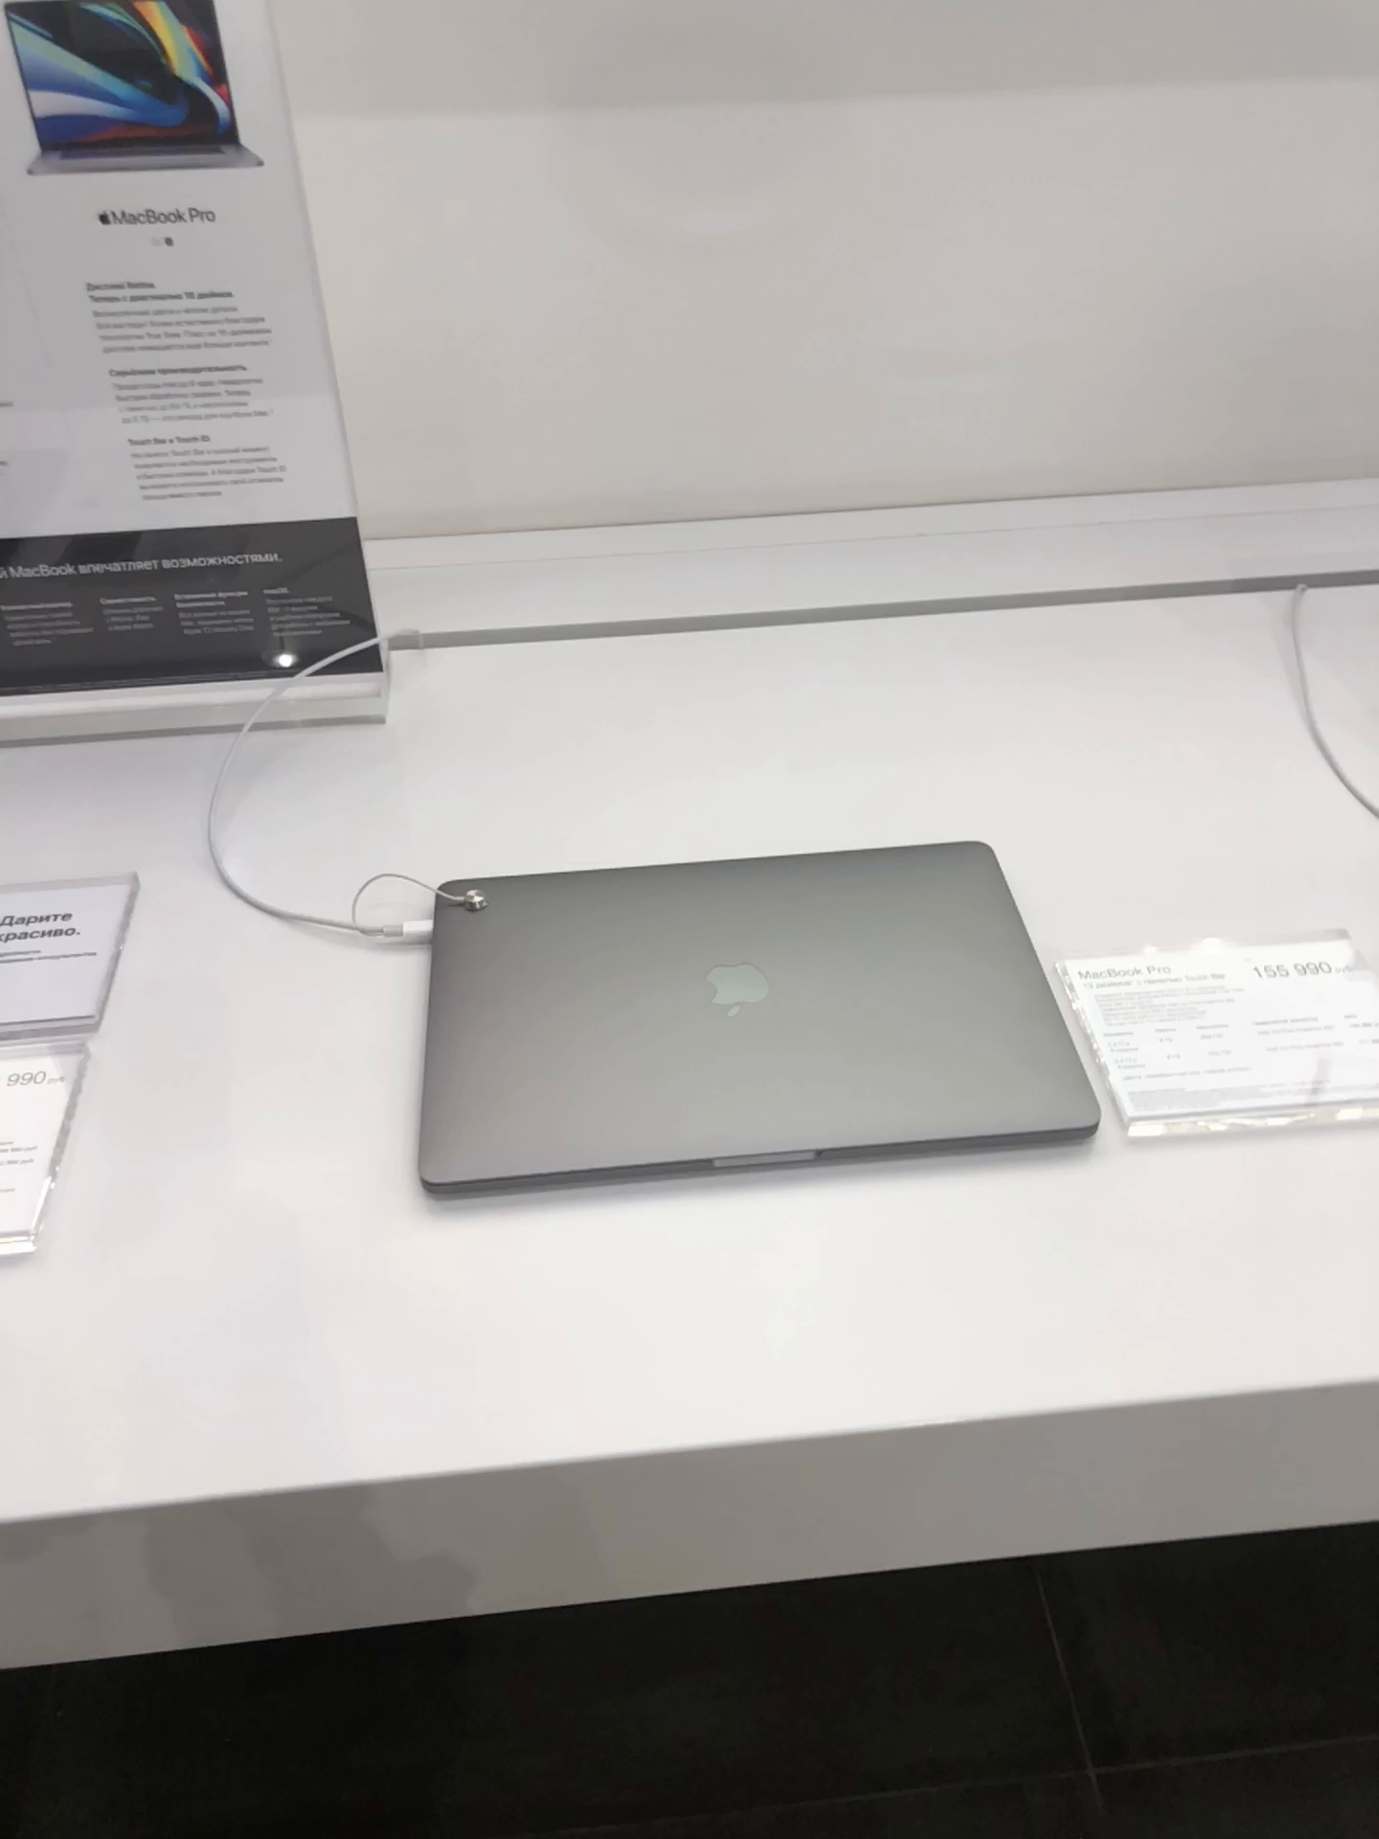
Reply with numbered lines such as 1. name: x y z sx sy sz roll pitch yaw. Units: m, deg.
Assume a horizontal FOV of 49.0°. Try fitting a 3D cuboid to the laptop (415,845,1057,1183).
1. laptop: 0.012 0.037 0.732 0.279 0.001 0.203 -5 40 -2
